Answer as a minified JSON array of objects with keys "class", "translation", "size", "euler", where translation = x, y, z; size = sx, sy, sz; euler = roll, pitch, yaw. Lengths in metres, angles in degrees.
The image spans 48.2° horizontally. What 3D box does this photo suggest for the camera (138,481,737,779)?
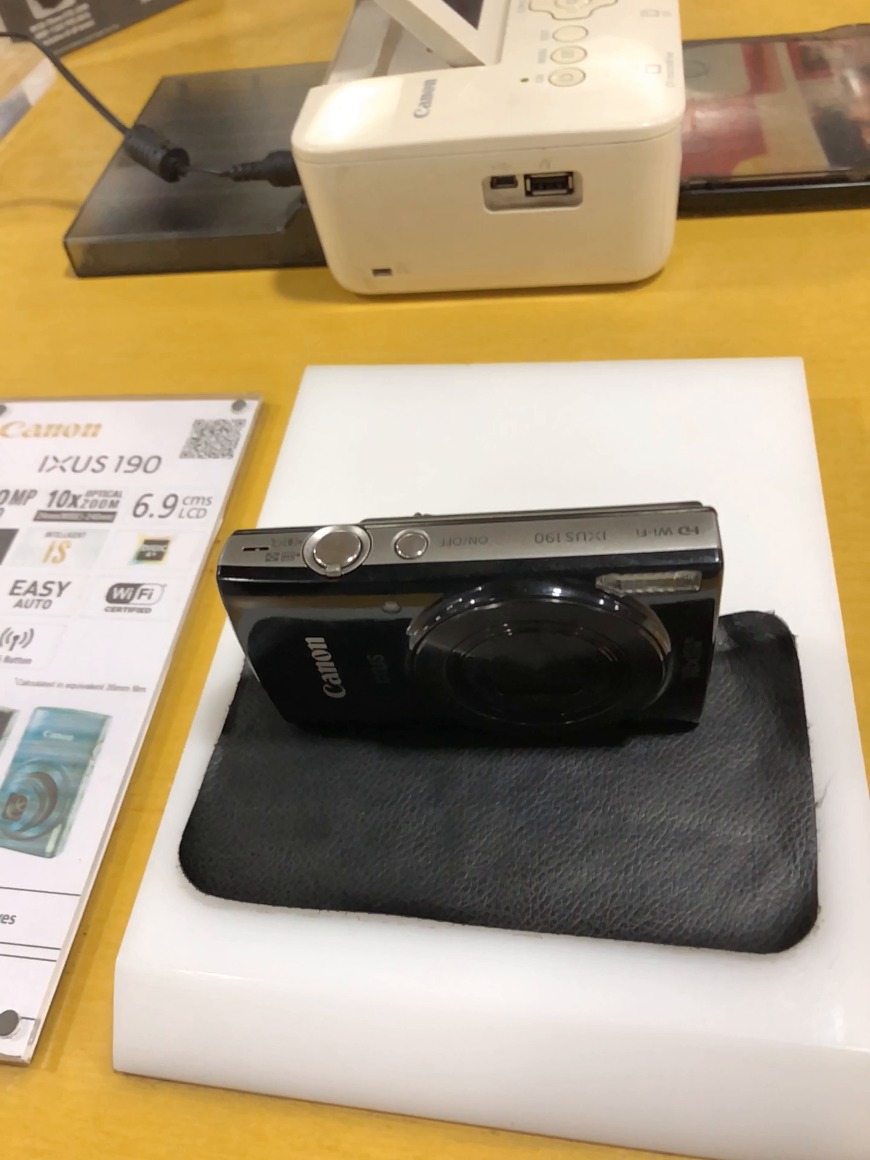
[{"class":"camera","translation":[0.002,0.012,0.190],"size":[0.100,0.050,0.030],"euler":[-3,52,7]}]
